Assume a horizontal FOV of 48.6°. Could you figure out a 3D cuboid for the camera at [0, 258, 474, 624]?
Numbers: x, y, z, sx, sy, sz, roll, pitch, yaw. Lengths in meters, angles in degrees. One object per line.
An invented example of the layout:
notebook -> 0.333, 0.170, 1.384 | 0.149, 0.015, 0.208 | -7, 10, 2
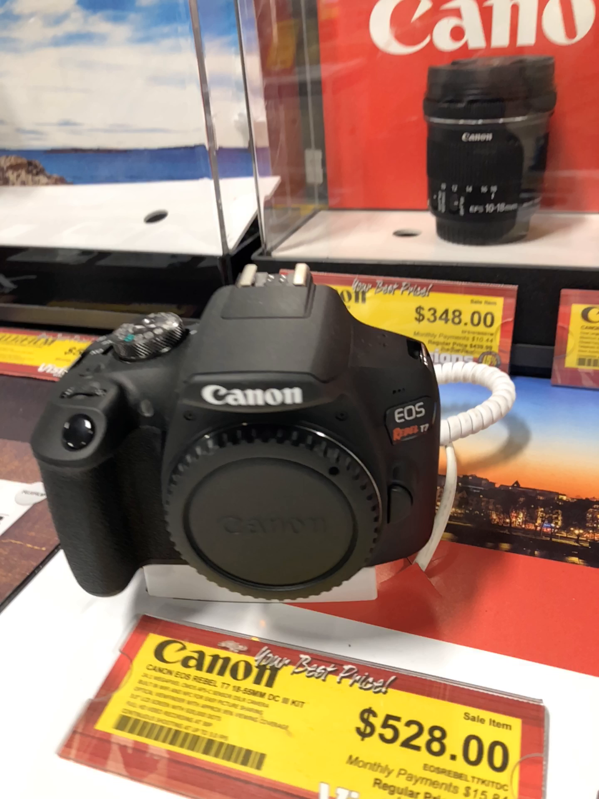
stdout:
camera -> -0.016, 0.012, 0.225 | 0.130, 0.089, 0.081 | -2, 30, 5
